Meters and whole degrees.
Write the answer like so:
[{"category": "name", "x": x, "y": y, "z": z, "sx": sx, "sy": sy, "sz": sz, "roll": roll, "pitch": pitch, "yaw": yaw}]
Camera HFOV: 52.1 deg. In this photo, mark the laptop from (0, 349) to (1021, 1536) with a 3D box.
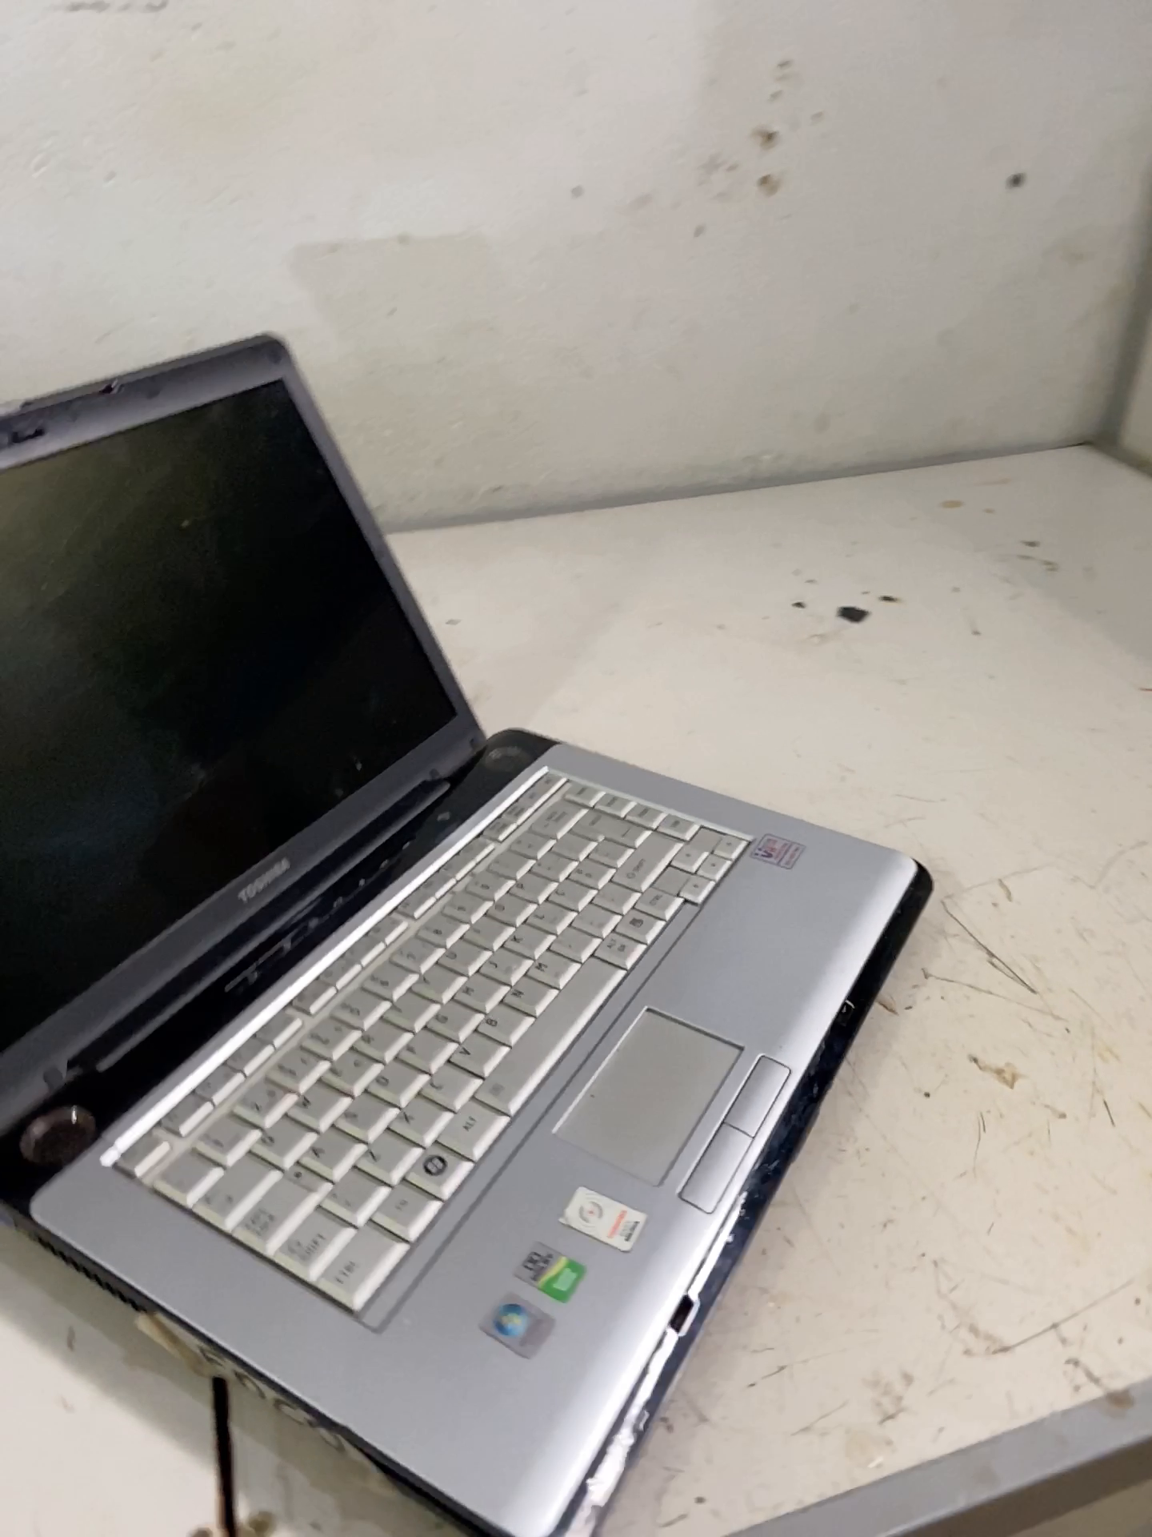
[{"category": "laptop", "x": -0.082, "y": -0.006, "z": 0.486, "sx": 0.393, "sy": 0.200, "sz": 0.352, "roll": 18, "pitch": 37, "yaw": 25}]
